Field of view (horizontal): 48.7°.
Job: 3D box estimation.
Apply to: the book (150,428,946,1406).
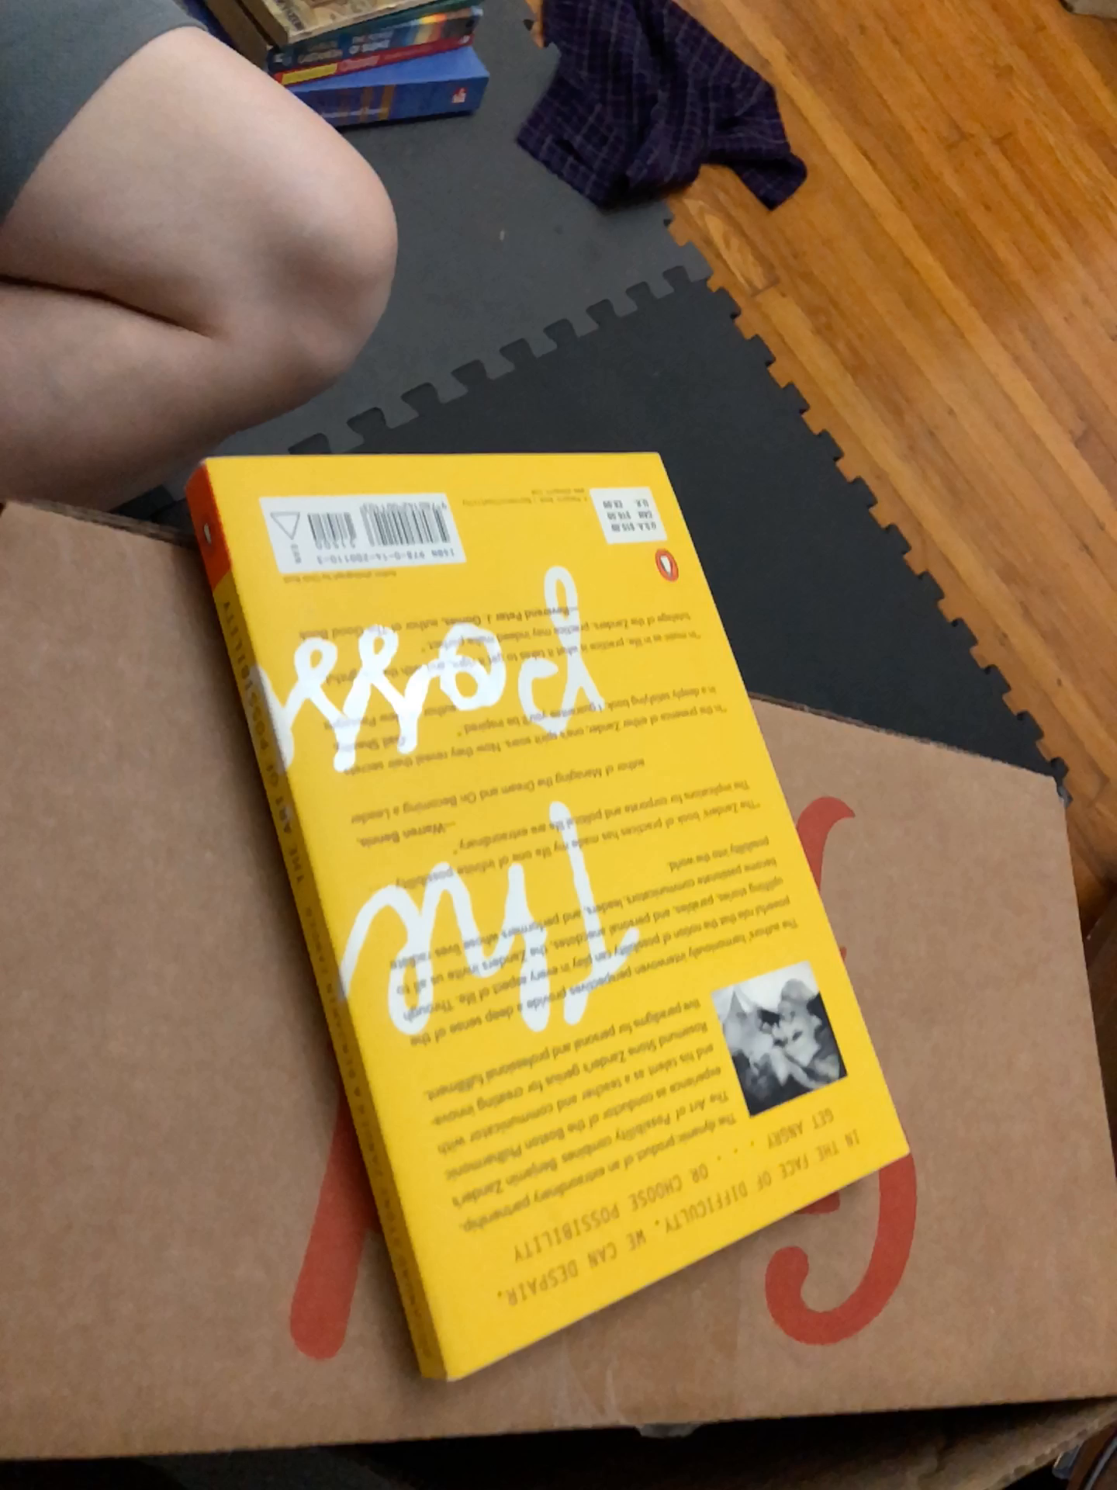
[{"bbox_3d":[0.001,0.020,0.306,0.151,0.020,0.210,-10,76,-34],"label":"book"}]
